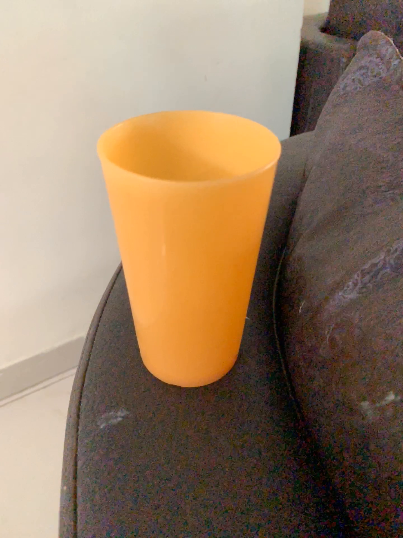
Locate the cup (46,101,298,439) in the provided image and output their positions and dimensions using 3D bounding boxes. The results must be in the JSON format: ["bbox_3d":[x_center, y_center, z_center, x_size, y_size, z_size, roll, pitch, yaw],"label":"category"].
[{"bbox_3d":[-0.007,0.001,0.198,0.070,0.129,0.070,-1,37,1],"label":"cup"}]

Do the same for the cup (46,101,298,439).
[{"bbox_3d":[-0.007,0.001,0.198,0.070,0.129,0.070,-1,37,1],"label":"cup"}]
